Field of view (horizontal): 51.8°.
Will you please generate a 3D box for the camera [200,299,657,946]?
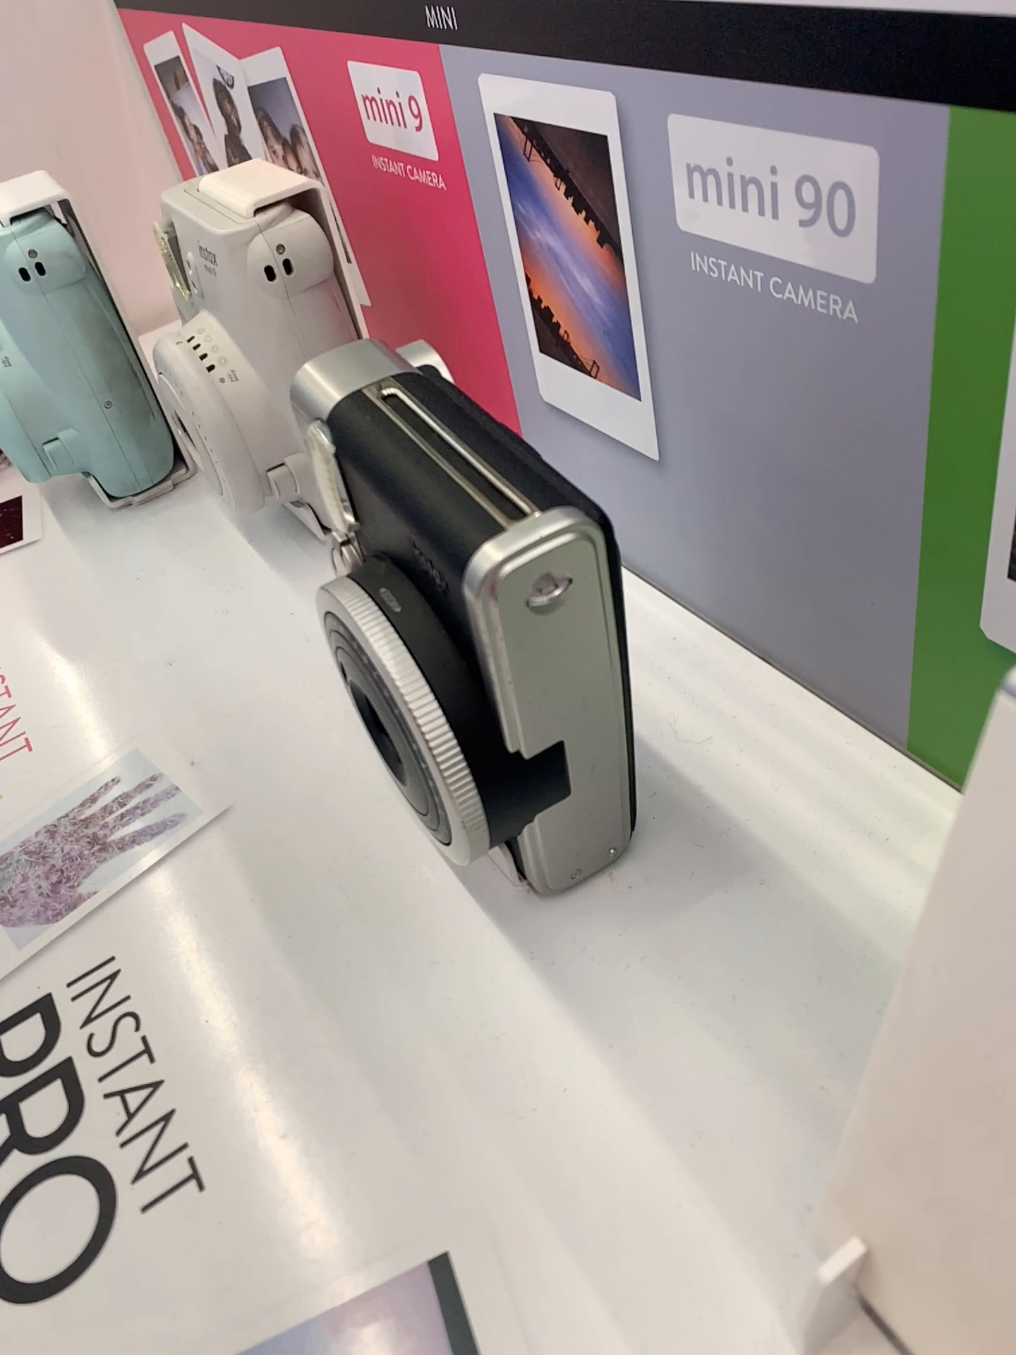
[{"bbox_3d":[-0.017,-0.014,0.251,0.050,0.109,0.101,-27,46,-13],"label":"camera"}]
